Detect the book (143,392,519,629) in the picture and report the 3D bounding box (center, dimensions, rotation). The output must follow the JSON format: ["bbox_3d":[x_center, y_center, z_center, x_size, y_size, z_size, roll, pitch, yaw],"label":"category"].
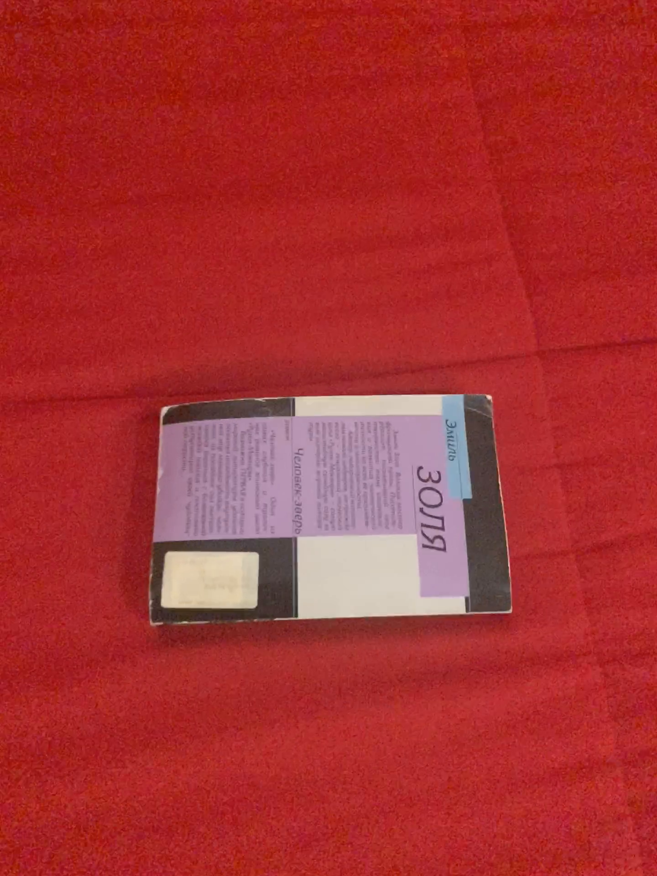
[{"bbox_3d":[0.000,0.036,0.335,0.170,0.034,0.109,-1,74,-3],"label":"book"}]
